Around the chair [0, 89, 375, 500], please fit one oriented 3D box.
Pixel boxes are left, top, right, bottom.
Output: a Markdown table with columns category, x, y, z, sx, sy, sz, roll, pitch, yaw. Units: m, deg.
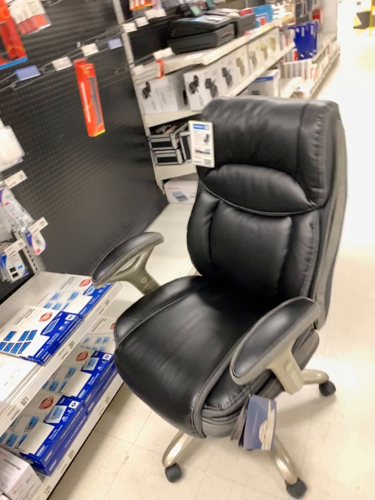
| category | x | y | z | sx | sy | sz | roll | pitch | yaw |
| --- | --- | --- | --- | --- | --- | --- | --- | --- | --- |
| chair | 0.070 | 0.158 | 1.238 | 0.744 | 1.094 | 0.741 | 21 | 44 | 41 |
